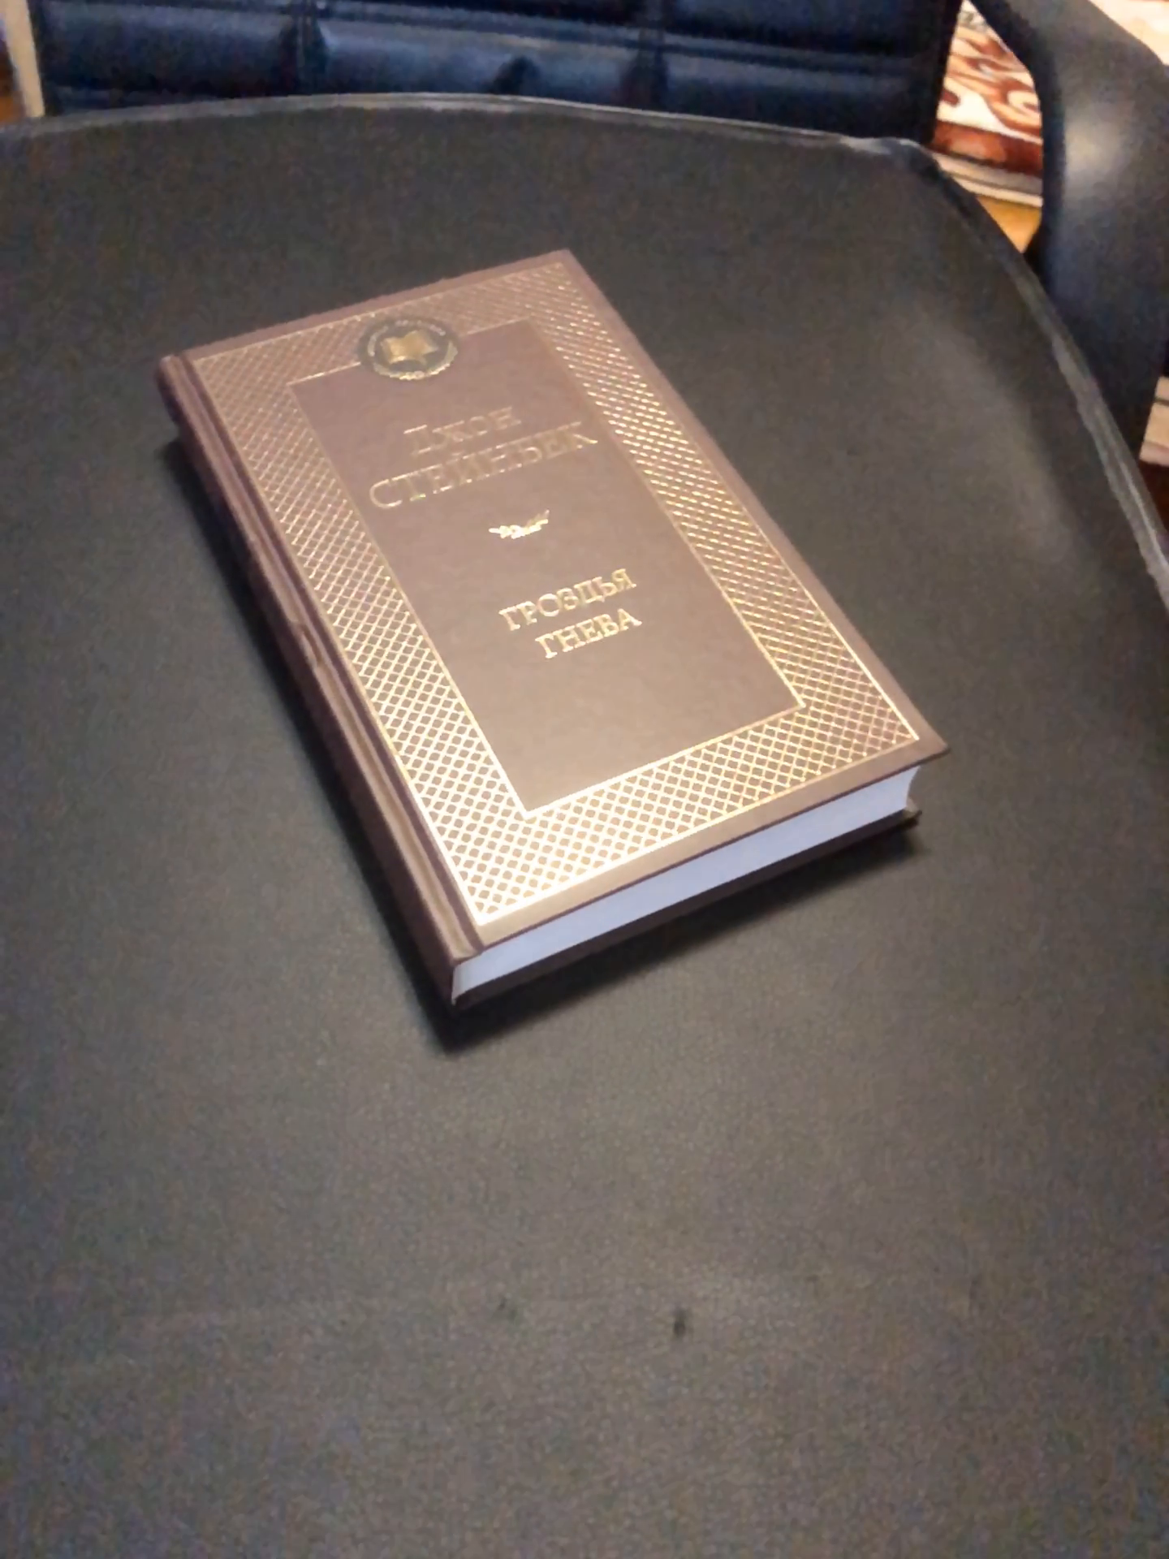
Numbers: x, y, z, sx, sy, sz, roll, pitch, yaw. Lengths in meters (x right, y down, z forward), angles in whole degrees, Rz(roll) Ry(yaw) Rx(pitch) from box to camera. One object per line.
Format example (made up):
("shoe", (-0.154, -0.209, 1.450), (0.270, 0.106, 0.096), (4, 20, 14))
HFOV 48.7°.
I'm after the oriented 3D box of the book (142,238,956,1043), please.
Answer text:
("book", (-0.018, -0.051, 0.341), (0.130, 0.040, 0.200), (-22, 63, -17))
